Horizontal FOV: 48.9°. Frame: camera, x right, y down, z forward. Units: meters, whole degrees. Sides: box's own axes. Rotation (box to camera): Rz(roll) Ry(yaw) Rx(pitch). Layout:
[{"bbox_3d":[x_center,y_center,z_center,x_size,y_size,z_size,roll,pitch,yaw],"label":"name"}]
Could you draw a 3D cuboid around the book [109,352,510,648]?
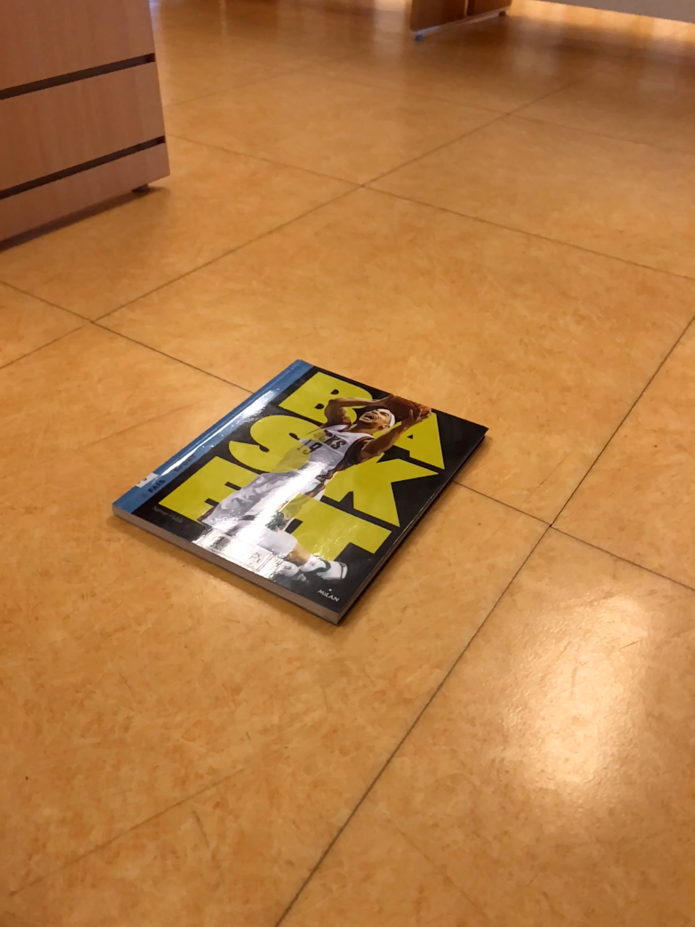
[{"bbox_3d":[-0.017,0.006,0.580,0.200,0.020,0.246,22,42,22],"label":"book"}]
